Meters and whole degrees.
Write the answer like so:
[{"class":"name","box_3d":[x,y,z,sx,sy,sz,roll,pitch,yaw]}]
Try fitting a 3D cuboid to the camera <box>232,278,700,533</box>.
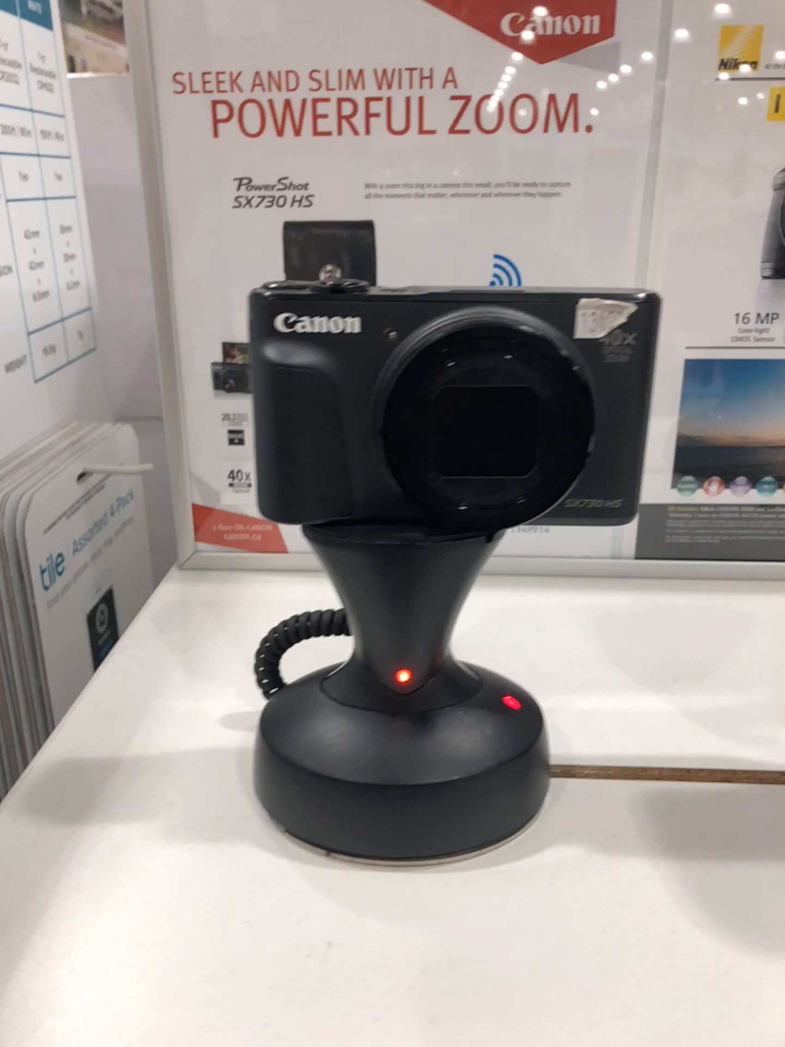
[{"class":"camera","box_3d":[0.018,-0.033,0.235,0.110,0.060,0.040,0,20,1]}]
